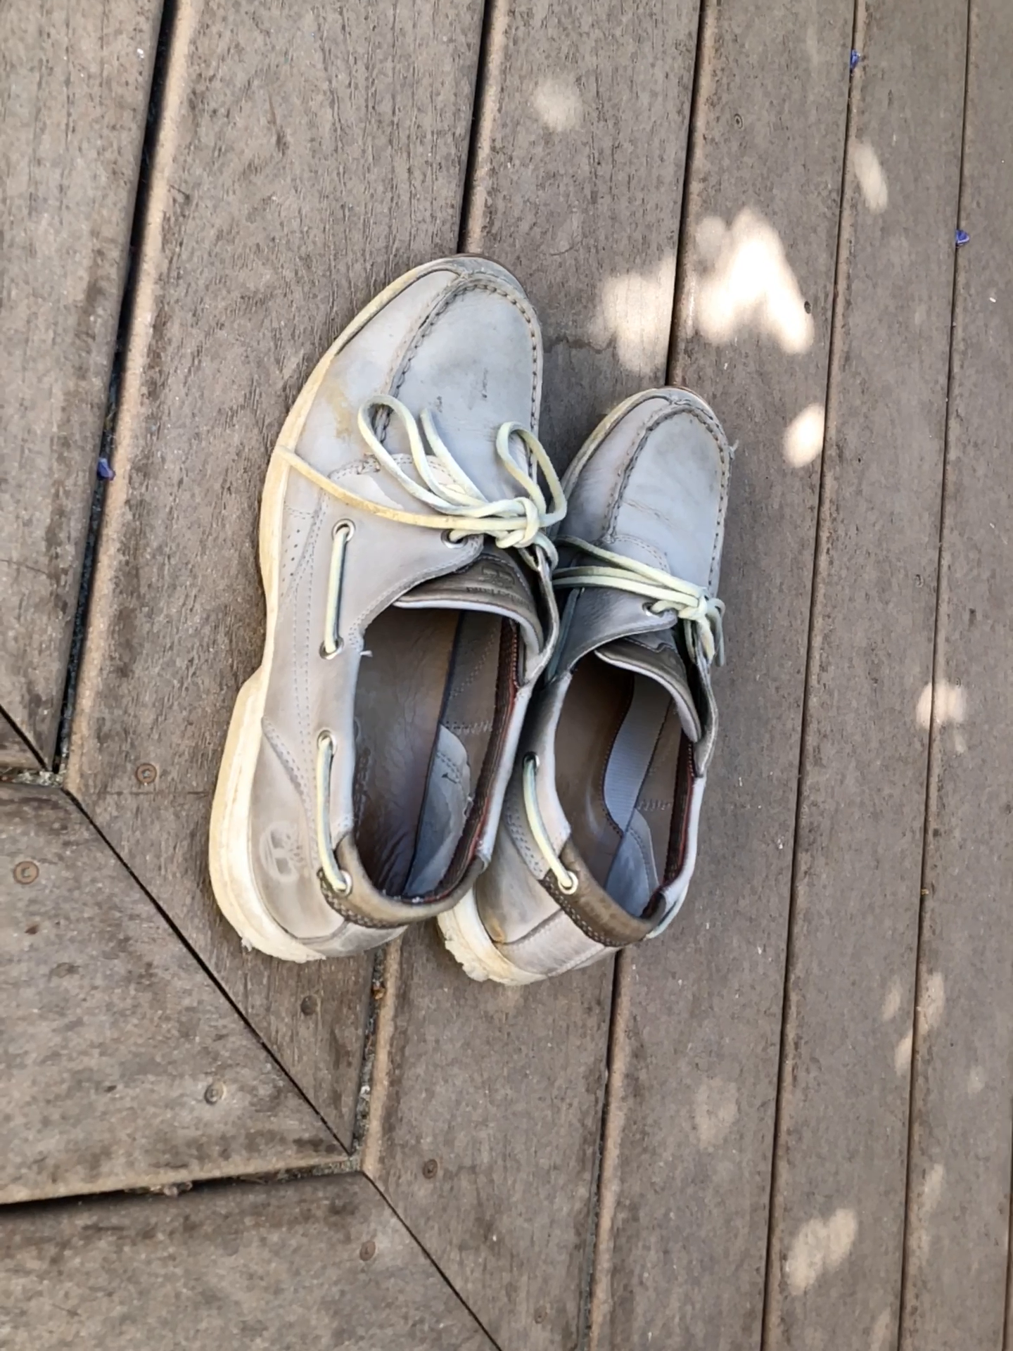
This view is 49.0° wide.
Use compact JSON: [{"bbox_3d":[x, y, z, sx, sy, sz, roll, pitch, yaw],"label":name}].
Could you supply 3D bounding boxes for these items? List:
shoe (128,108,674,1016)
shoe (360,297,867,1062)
[{"bbox_3d":[-0.034,-0.038,0.442,0.120,0.095,0.310,22,74,-38],"label":"shoe"},{"bbox_3d":[0.061,-0.002,0.520,0.122,0.097,0.312,33,67,-34],"label":"shoe"}]
